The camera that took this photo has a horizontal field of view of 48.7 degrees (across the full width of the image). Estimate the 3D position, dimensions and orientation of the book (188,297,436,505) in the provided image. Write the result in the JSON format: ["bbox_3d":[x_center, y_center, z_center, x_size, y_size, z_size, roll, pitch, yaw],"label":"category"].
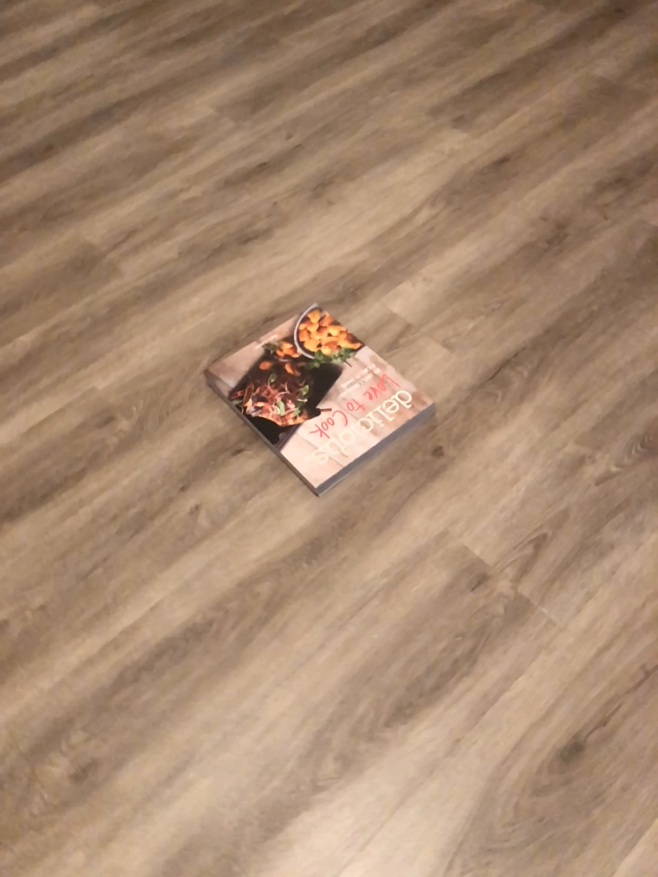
[{"bbox_3d":[-0.029,-0.068,1.049,0.222,0.030,0.290,-35,59,-20],"label":"book"}]
